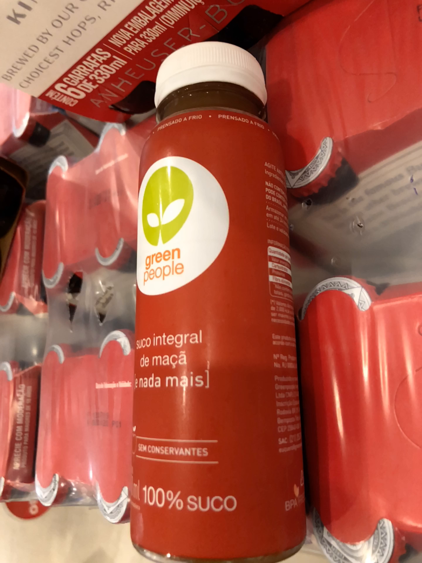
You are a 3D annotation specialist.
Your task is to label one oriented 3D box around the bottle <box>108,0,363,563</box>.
[{"bbox_3d":[0.003,-0.011,0.152,0.060,0.040,0.180,-13,73,44],"label":"bottle"}]
